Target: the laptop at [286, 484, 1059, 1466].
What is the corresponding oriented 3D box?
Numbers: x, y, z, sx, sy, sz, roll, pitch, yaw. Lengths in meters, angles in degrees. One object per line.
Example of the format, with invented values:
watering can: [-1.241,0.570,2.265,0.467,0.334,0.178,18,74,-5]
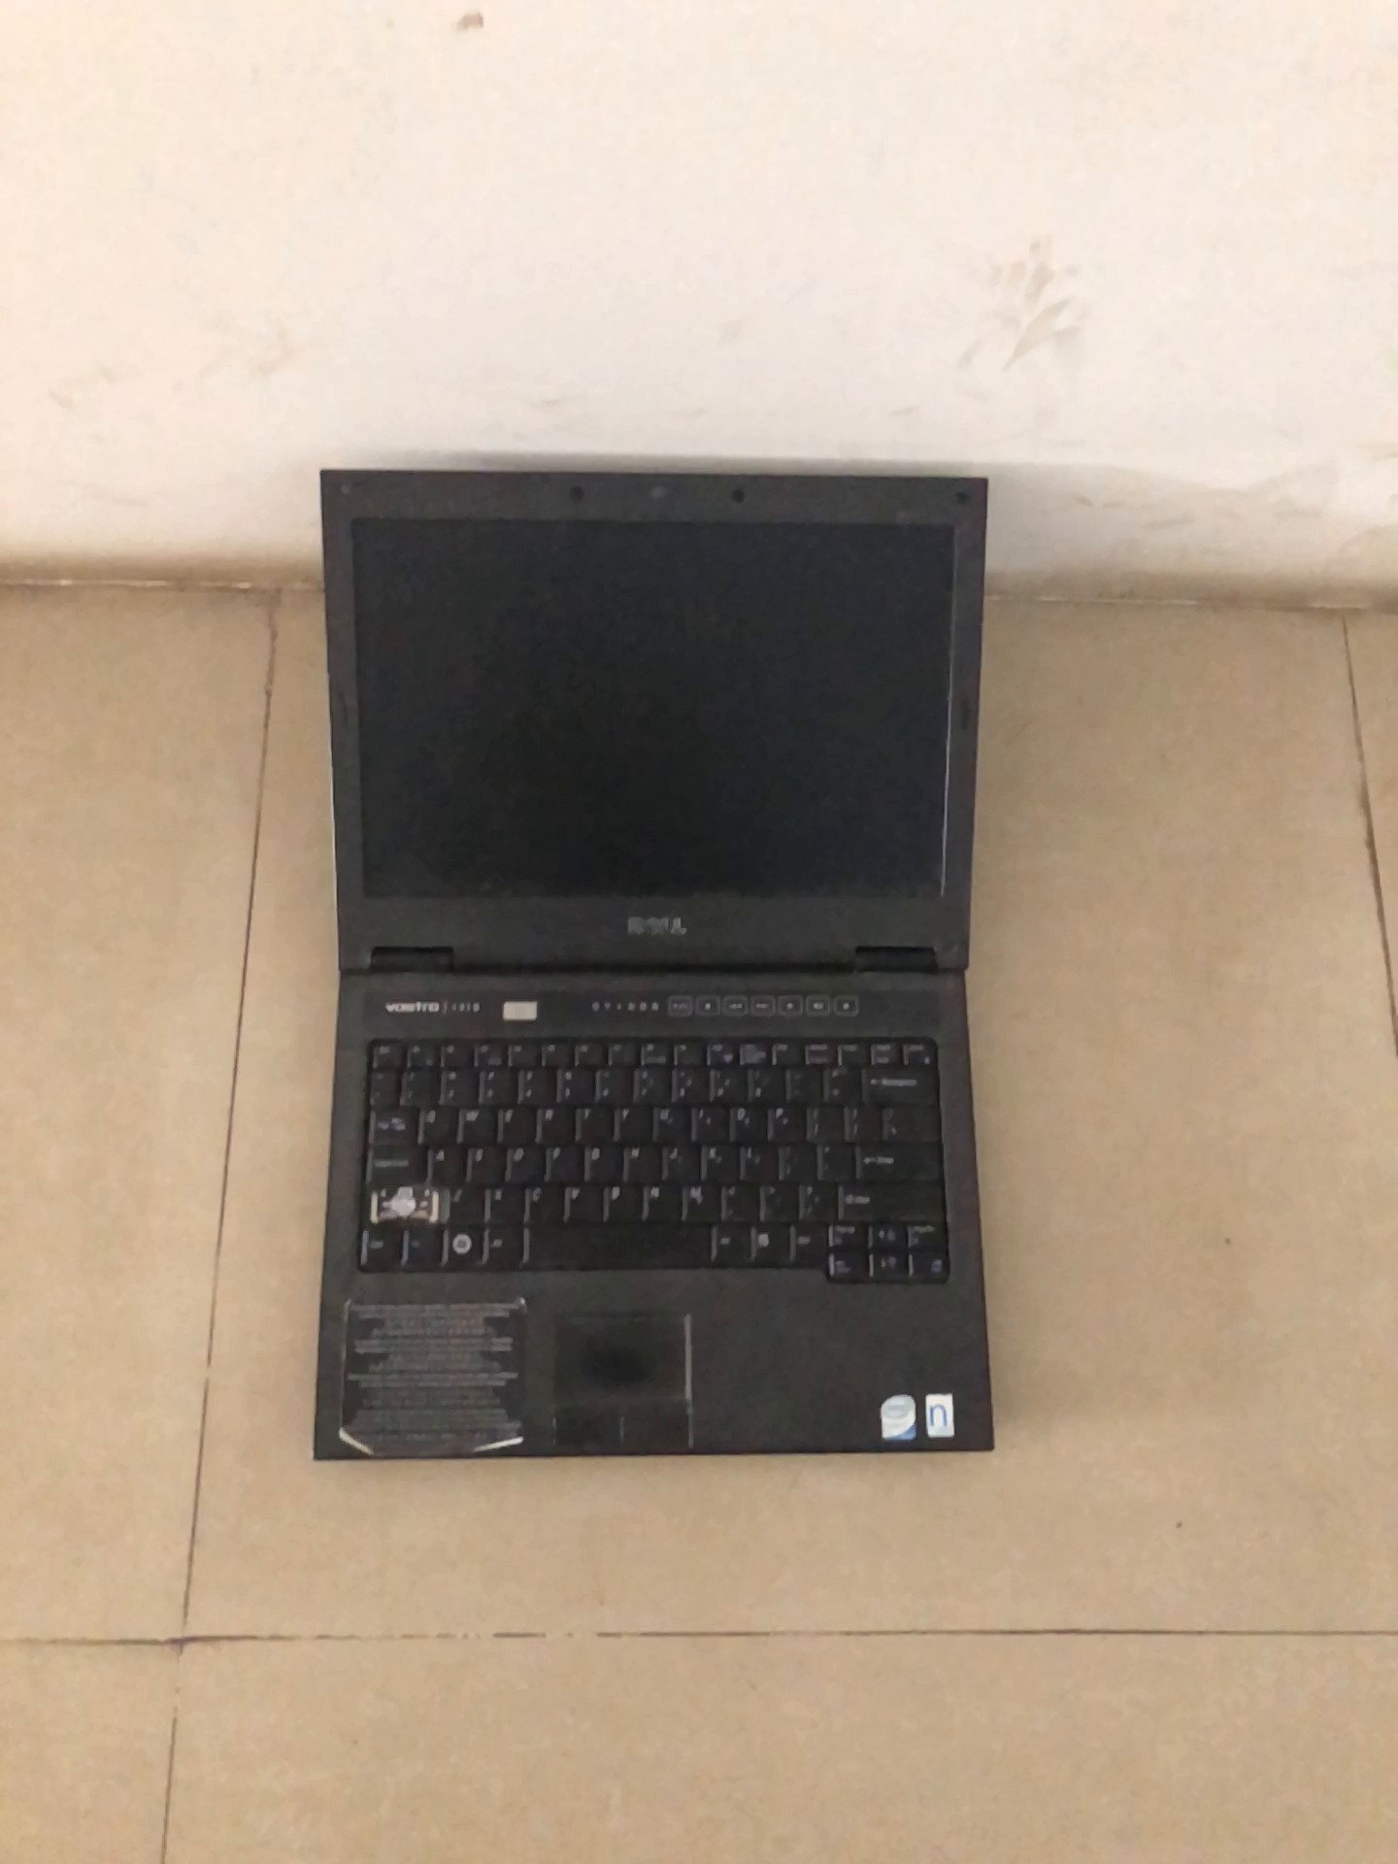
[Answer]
laptop: [-0.013,0.014,0.711,0.299,0.114,0.433,0,73,-1]
